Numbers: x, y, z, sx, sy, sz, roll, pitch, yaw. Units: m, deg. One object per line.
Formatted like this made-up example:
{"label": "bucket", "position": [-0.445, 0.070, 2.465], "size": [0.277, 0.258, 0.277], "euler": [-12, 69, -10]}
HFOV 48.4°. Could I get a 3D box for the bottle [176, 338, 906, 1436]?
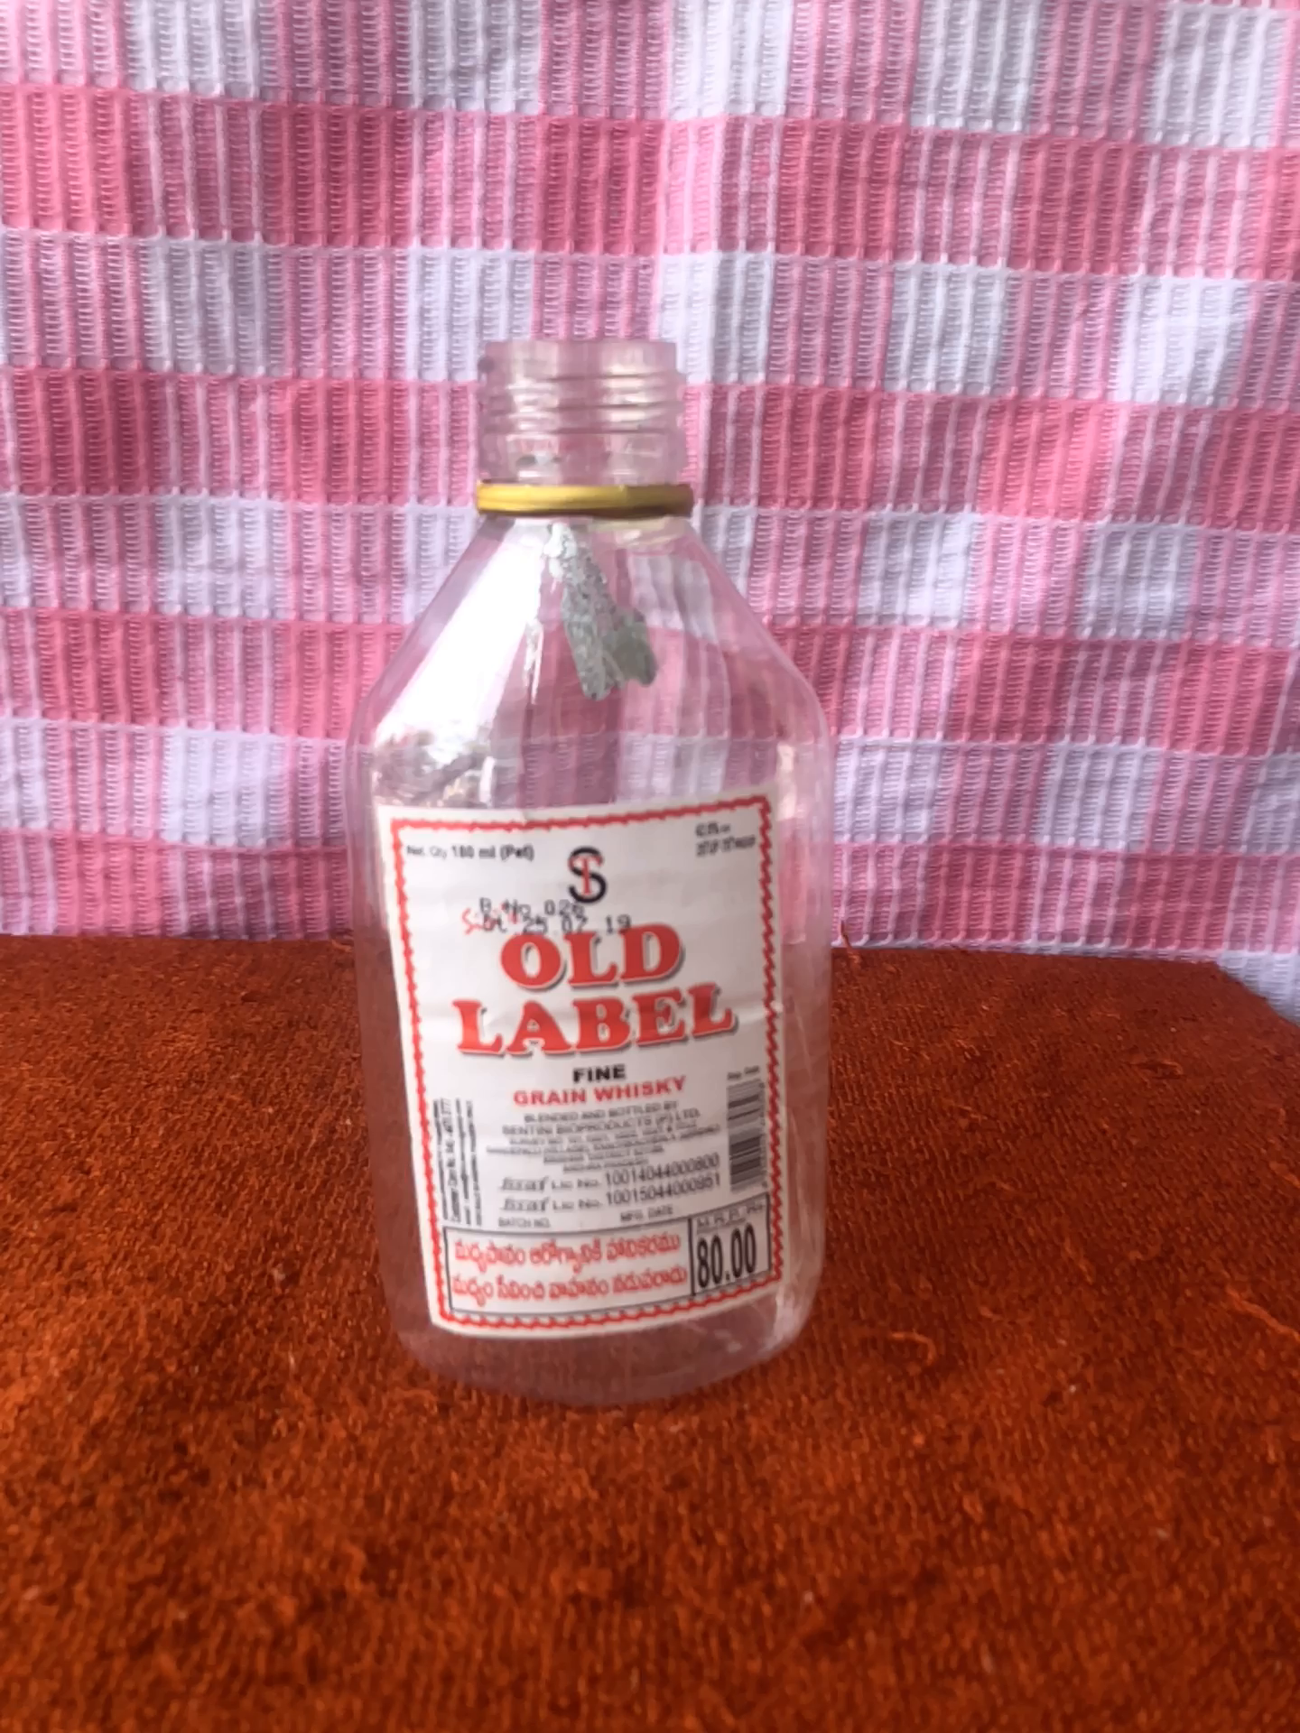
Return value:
{"label": "bottle", "position": [-0.012, 0.002, 0.185], "size": [0.070, 0.129, 0.050], "euler": [0, 20, -2]}
